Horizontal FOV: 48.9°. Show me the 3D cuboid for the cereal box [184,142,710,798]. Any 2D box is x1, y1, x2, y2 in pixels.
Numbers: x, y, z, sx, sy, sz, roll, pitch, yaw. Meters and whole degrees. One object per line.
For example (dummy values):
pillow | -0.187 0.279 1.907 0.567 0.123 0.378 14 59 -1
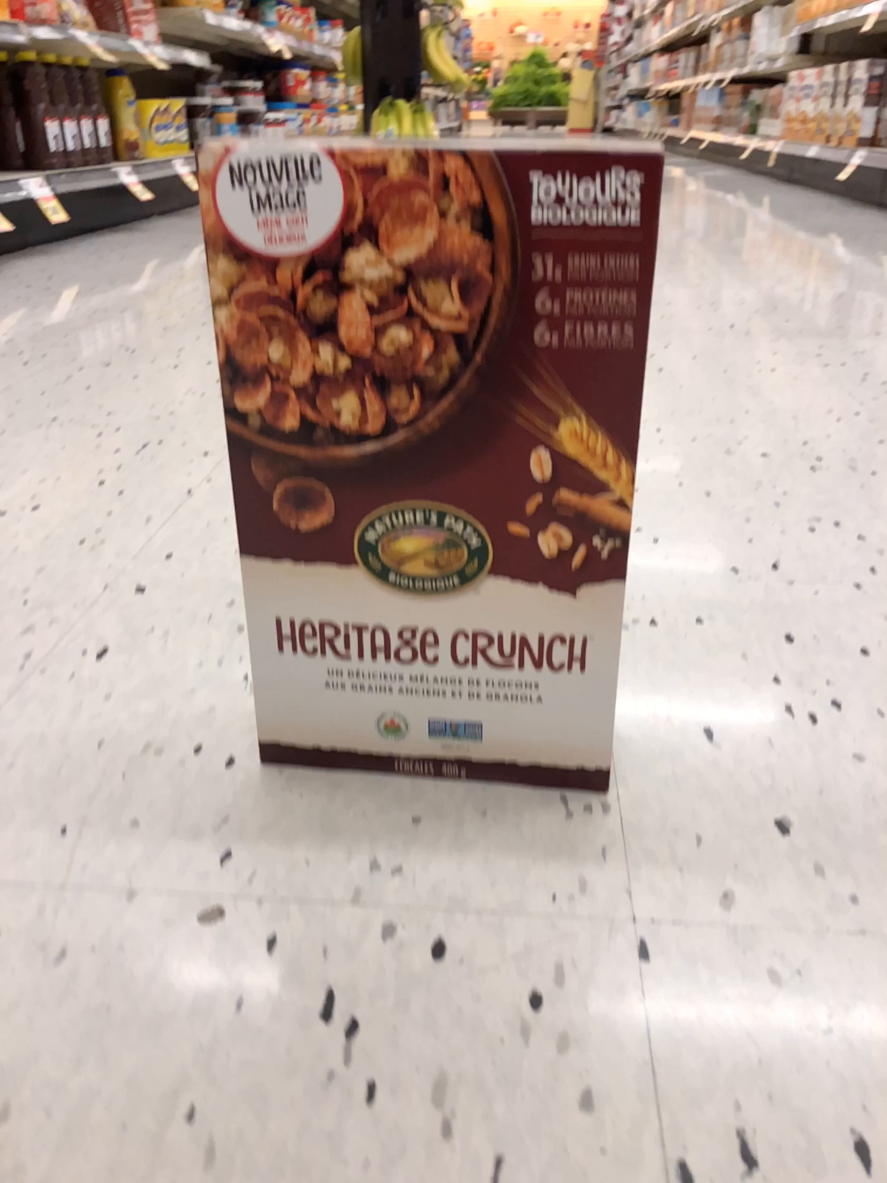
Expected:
cereal box | 0.003 -0.043 0.393 0.170 0.249 0.060 3 26 7
